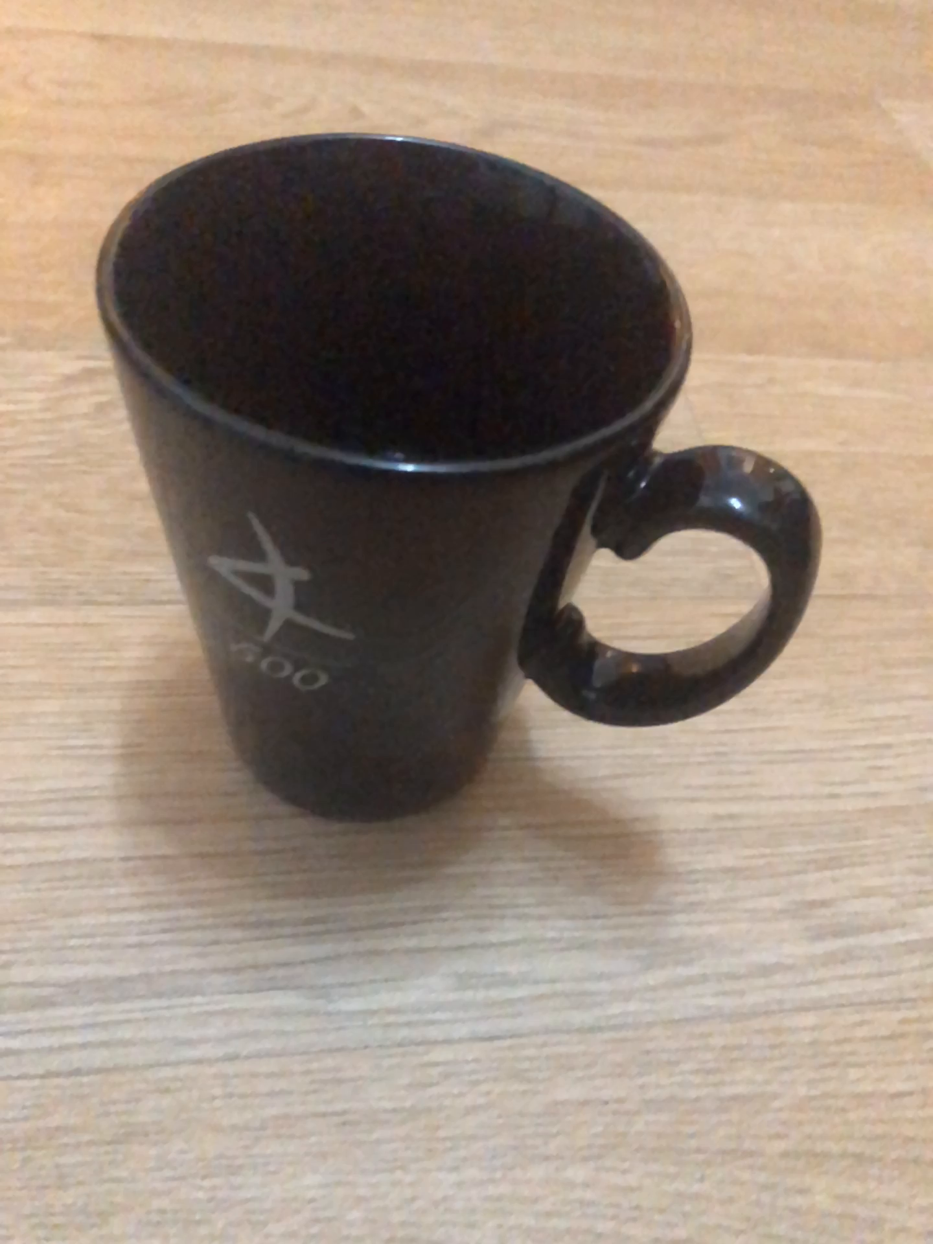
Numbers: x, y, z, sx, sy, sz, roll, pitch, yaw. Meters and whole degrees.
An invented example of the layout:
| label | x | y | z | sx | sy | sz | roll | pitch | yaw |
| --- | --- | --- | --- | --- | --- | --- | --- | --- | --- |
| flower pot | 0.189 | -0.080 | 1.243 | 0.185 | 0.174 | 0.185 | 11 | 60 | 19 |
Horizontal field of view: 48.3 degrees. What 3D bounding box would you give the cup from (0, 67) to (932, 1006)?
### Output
| label | x | y | z | sx | sy | sz | roll | pitch | yaw |
| --- | --- | --- | --- | --- | --- | --- | --- | --- | --- |
| cup | 0.001 | -0.017 | 0.180 | 0.120 | 0.089 | 0.091 | 23 | 50 | 10 |
